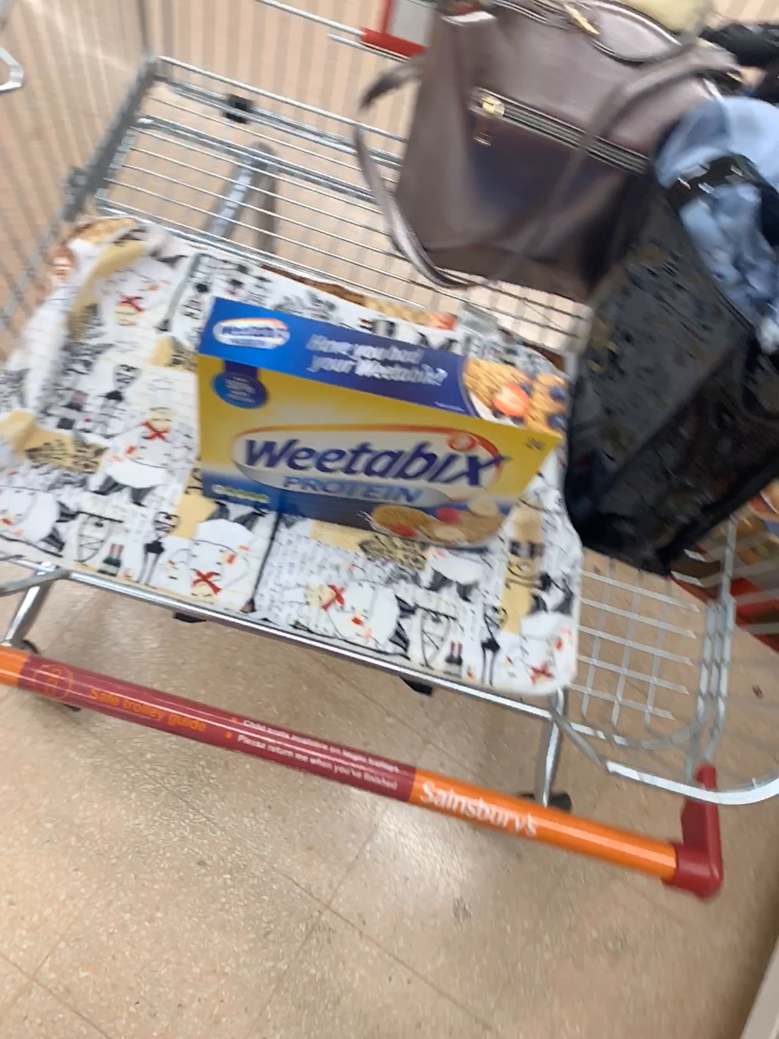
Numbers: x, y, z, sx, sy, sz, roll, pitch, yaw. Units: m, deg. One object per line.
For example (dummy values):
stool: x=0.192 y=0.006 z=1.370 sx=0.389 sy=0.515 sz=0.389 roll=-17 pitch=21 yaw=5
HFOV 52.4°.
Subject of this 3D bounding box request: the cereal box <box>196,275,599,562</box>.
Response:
cereal box: x=-0.007 y=-0.061 z=0.598 sx=0.260 sy=0.199 sz=0.060 roll=11 pitch=60 yaw=-7
